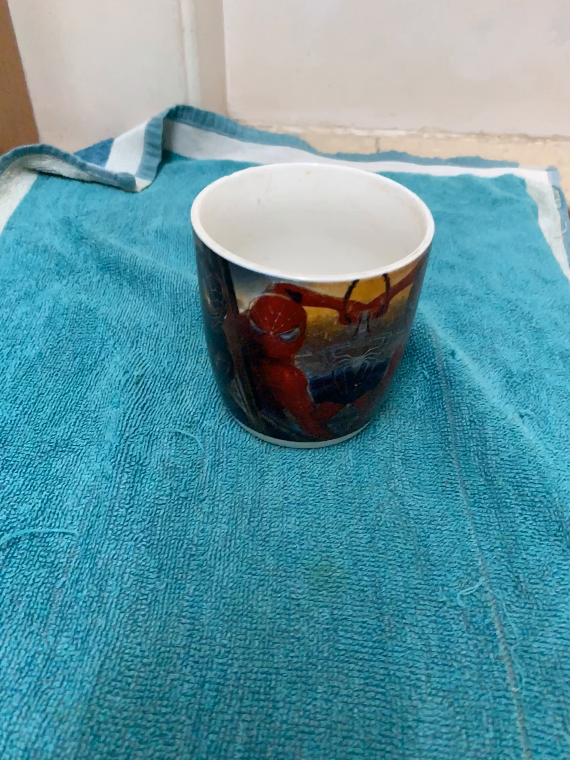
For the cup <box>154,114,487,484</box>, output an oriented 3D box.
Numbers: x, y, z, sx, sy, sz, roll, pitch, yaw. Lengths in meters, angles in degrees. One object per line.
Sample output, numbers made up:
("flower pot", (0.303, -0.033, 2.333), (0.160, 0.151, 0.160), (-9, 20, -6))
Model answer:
("cup", (0.004, -0.041, 0.247), (0.080, 0.089, 0.121), (-14, 44, -17))
